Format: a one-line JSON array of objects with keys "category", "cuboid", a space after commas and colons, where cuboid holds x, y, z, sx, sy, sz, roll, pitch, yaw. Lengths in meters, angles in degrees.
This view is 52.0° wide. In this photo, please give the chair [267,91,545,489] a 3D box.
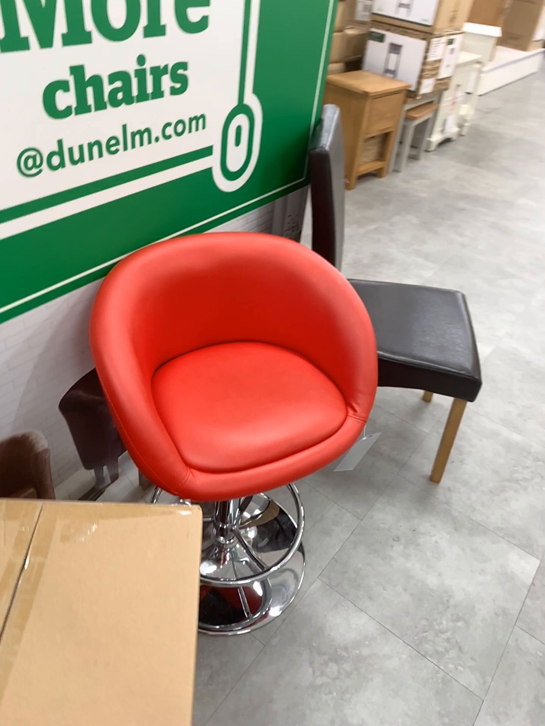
[{"category": "chair", "cuboid": [0.320, -0.175, 1.501, 0.530, 0.853, 0.509, 9, 39, 2]}]

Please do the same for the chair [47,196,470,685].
[{"category": "chair", "cuboid": [-0.060, 0.143, 1.156, 0.536, 0.744, 0.463, -21, 47, -31]}]
